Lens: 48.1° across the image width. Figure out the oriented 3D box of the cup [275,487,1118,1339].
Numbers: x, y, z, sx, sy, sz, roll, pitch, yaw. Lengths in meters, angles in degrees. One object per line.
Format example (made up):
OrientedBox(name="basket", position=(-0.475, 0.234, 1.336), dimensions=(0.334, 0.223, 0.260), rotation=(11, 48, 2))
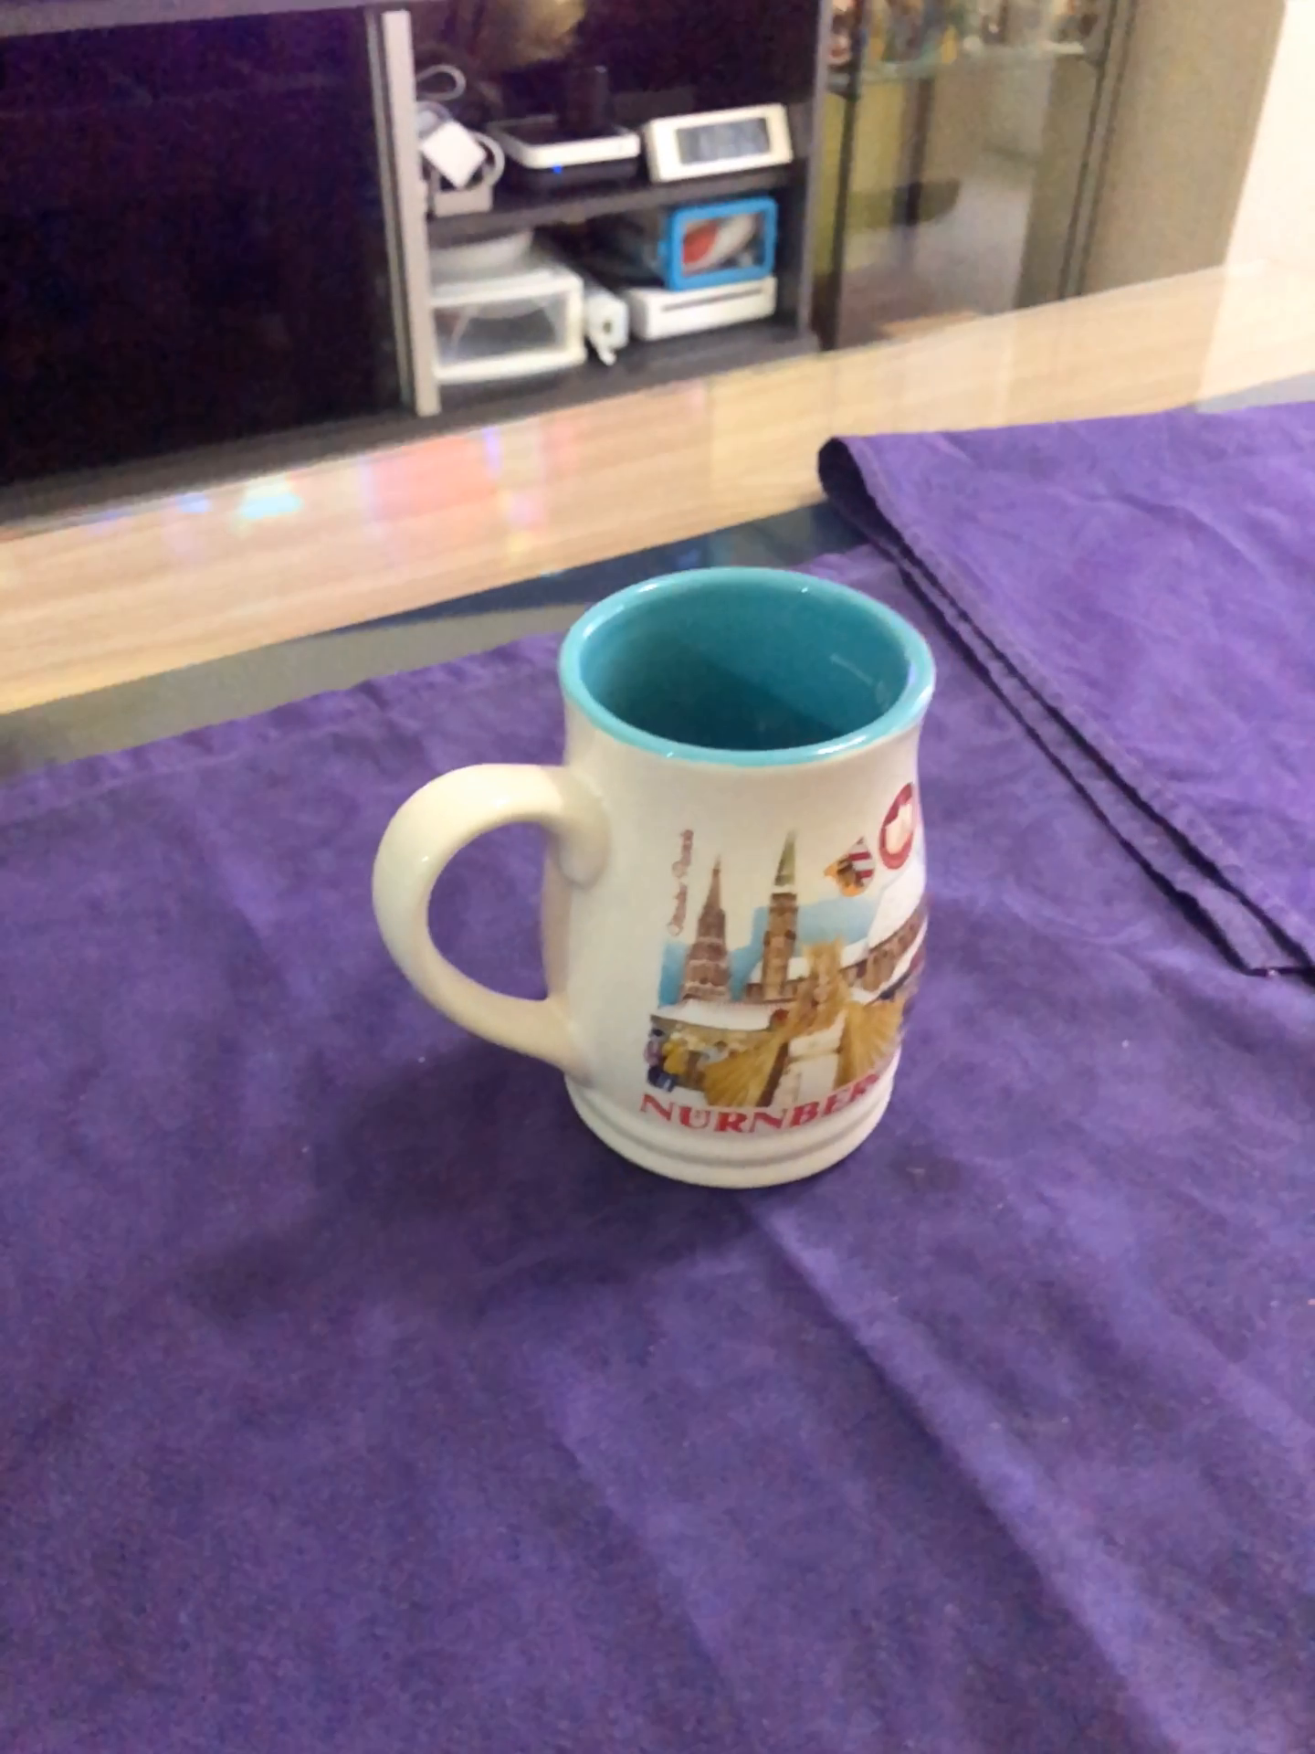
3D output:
OrientedBox(name="cup", position=(0.004, 0.003, 0.285), dimensions=(0.120, 0.109, 0.080), rotation=(-17, 42, -21))
